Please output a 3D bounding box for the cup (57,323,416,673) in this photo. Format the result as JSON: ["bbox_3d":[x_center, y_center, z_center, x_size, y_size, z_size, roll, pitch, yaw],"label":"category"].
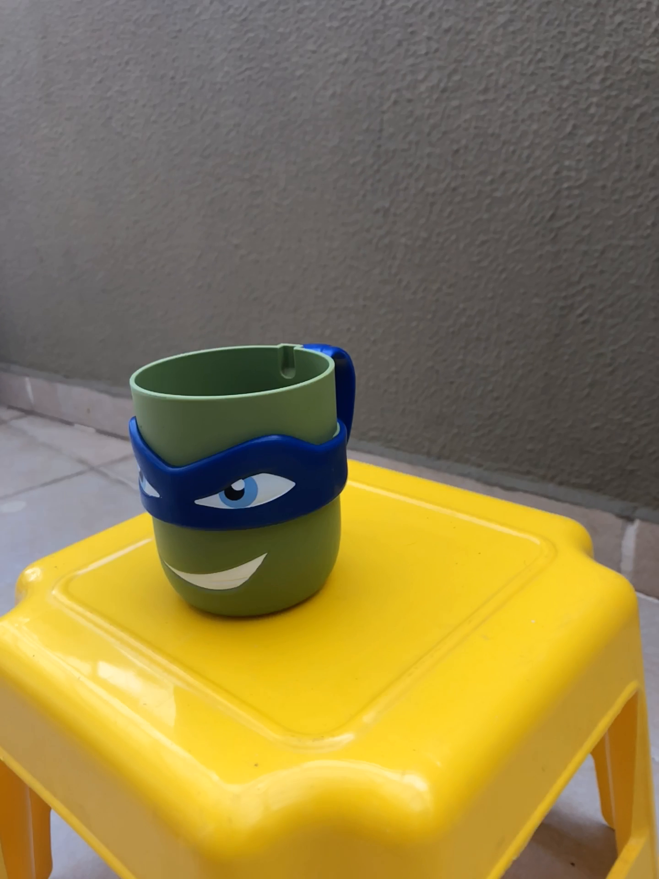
[{"bbox_3d":[-0.027,0.011,0.288,0.080,0.090,0.110,8,22,31],"label":"cup"}]
